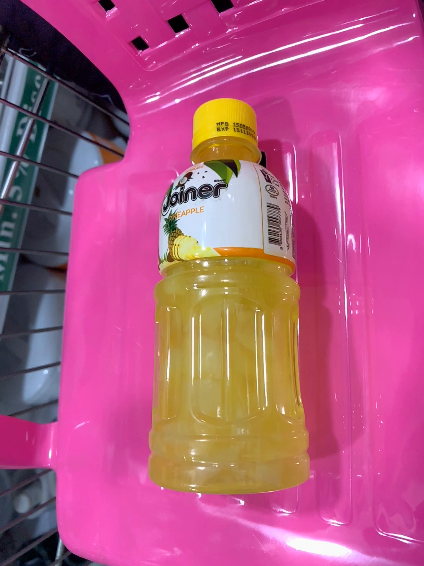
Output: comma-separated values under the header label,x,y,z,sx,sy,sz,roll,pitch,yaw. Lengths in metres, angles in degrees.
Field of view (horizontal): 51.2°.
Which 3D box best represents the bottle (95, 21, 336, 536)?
label,x,y,z,sx,sy,sz,roll,pitch,yaw
bottle,-0.004,-0.001,0.181,0.070,0.060,0.160,-12,77,47
